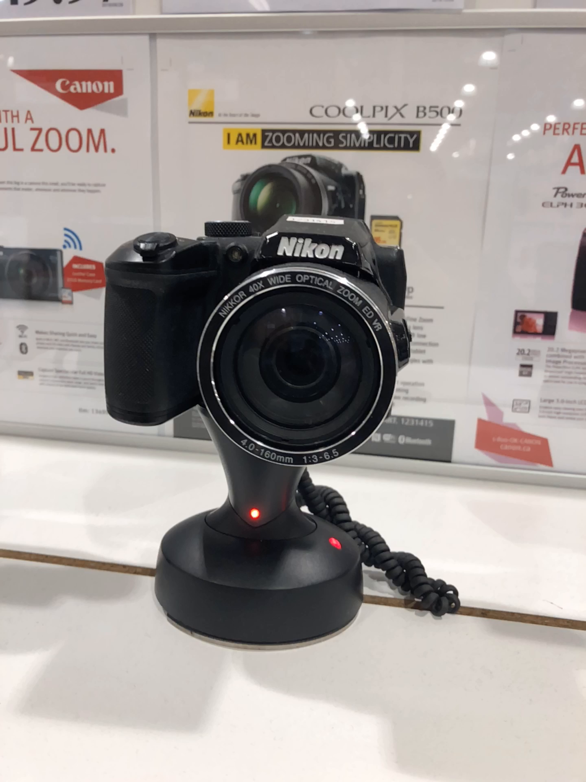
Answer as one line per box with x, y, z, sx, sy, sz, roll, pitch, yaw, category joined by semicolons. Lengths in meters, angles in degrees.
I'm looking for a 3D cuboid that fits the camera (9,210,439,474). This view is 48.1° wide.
-0.015;-0.027;0.235;0.120;0.070;0.100;4;15;8;camera
